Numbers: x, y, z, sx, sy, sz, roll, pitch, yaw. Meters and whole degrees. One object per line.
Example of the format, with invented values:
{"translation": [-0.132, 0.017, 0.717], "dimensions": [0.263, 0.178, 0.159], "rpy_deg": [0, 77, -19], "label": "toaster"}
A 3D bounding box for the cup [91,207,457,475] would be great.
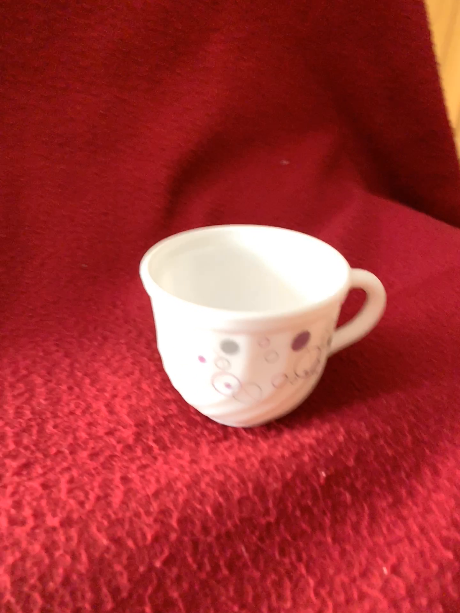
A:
{"translation": [0.007, 0.005, 0.174], "dimensions": [0.100, 0.050, 0.081], "rpy_deg": [-4, 34, -9], "label": "cup"}
